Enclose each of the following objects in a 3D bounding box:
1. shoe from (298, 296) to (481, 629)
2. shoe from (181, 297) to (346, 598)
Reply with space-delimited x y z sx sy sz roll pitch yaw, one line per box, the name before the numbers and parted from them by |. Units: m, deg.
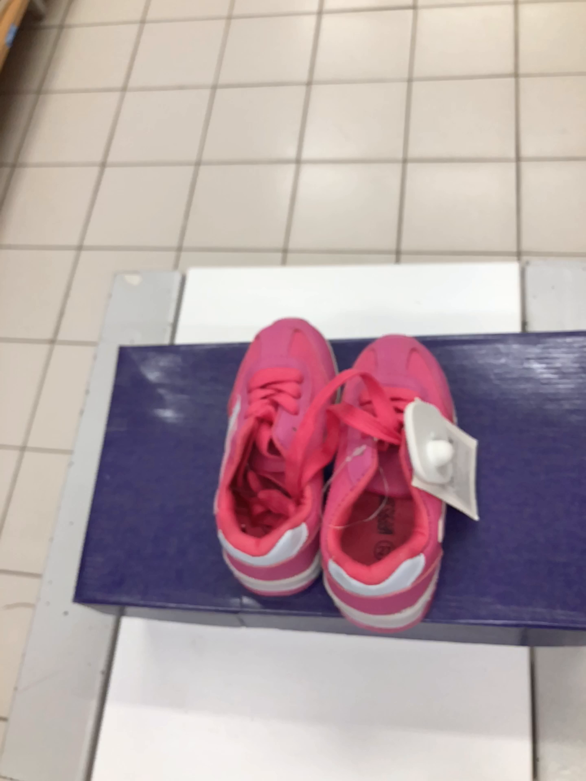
shoe | 0.054 0.041 0.362 0.080 0.090 0.160 1 67 9
shoe | -0.010 0.036 0.400 0.070 0.090 0.160 1 67 9
